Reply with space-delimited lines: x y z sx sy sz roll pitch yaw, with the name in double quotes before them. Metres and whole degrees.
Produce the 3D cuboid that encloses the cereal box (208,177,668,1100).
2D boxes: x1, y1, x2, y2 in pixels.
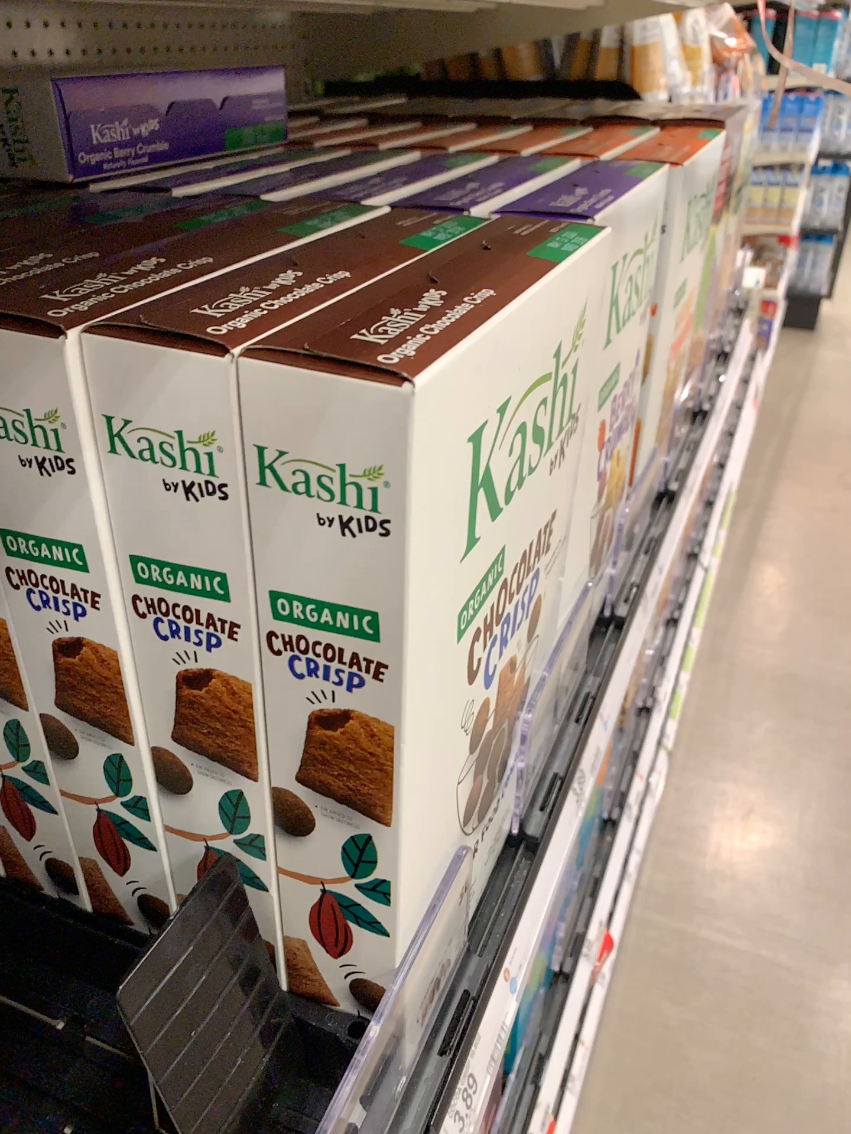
"cereal box" 0.020 0.014 0.319 0.060 0.259 0.201 13 33 19
